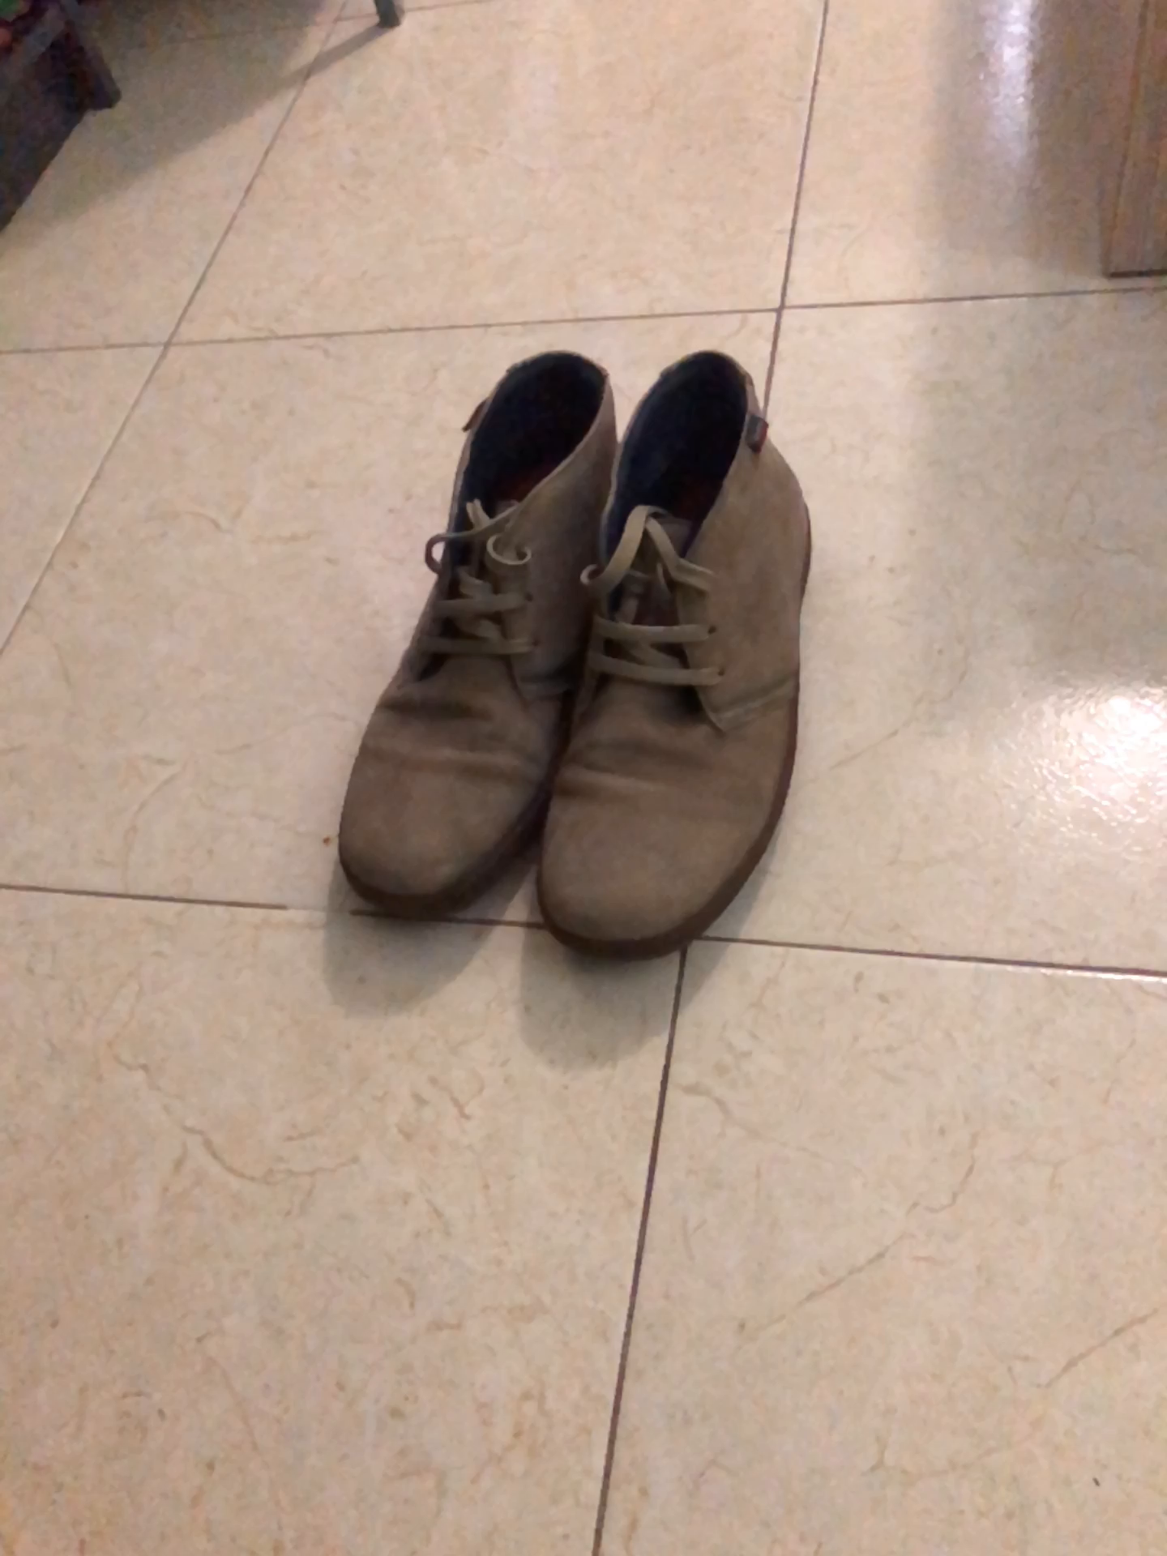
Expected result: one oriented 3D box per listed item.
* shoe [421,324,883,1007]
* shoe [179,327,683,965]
[{"bbox_3d":[0.048,-0.061,0.577,0.120,0.120,0.281,8,58,19],"label":"shoe"},{"bbox_3d":[-0.054,-0.073,0.619,0.110,0.120,0.281,10,59,20],"label":"shoe"}]
